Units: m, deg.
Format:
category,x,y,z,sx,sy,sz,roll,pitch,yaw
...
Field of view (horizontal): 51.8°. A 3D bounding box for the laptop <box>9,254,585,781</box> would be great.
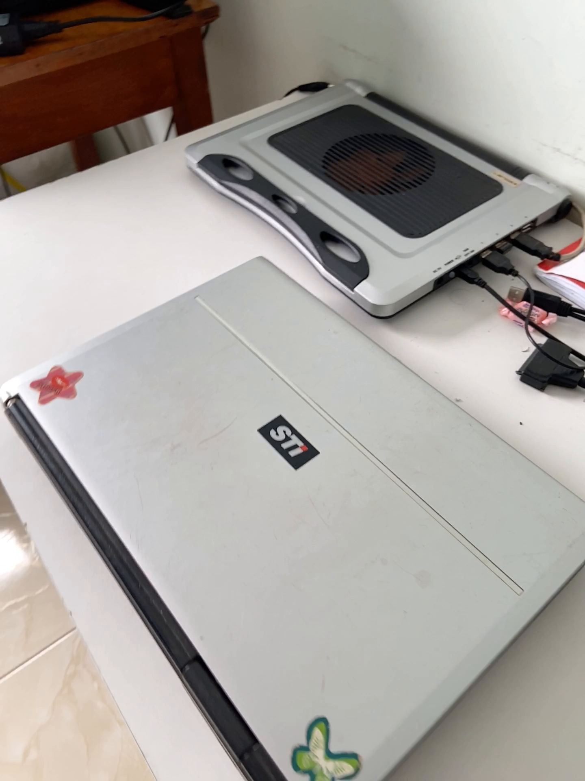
category,x,y,z,sx,sy,sz,roll,pitch,yaw
laptop,-0.009,0.040,0.396,0.235,0.004,0.339,-32,56,-24
